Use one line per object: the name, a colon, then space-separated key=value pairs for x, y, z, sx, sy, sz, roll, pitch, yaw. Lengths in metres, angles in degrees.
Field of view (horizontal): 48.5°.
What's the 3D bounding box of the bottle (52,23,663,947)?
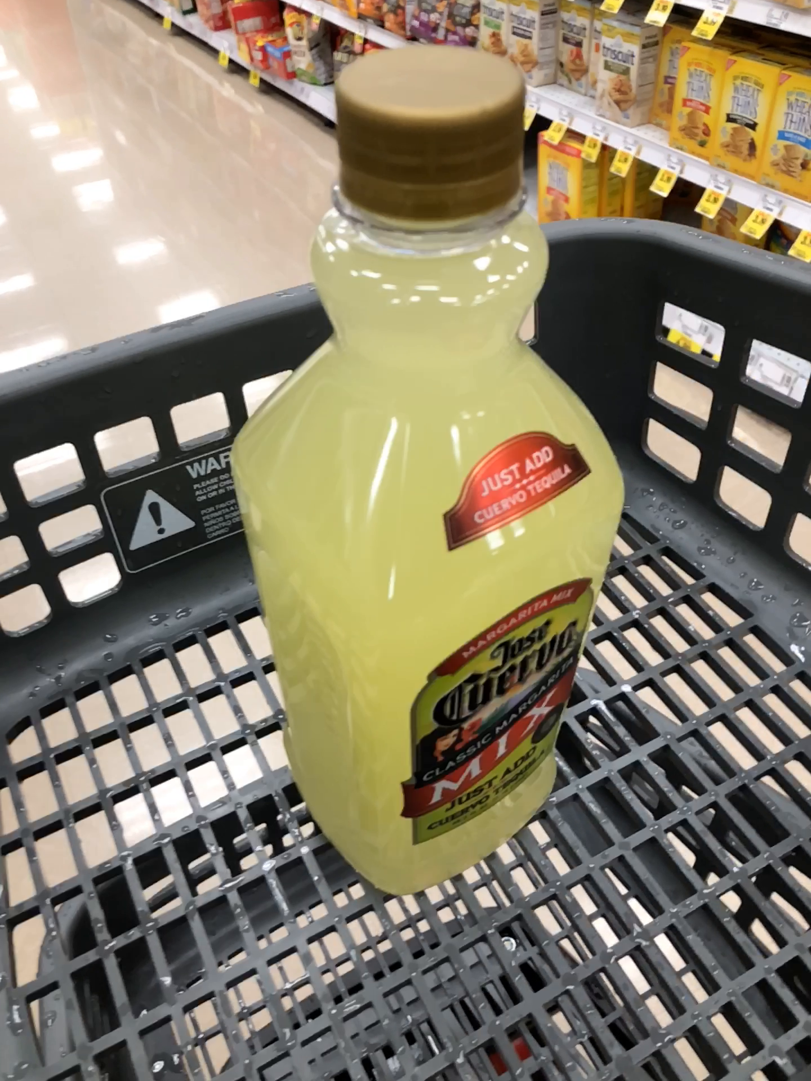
bottle: x=-0.005 y=0.006 z=0.293 sx=0.110 sy=0.279 sz=0.080 roll=-27 pitch=47 yaw=-23
